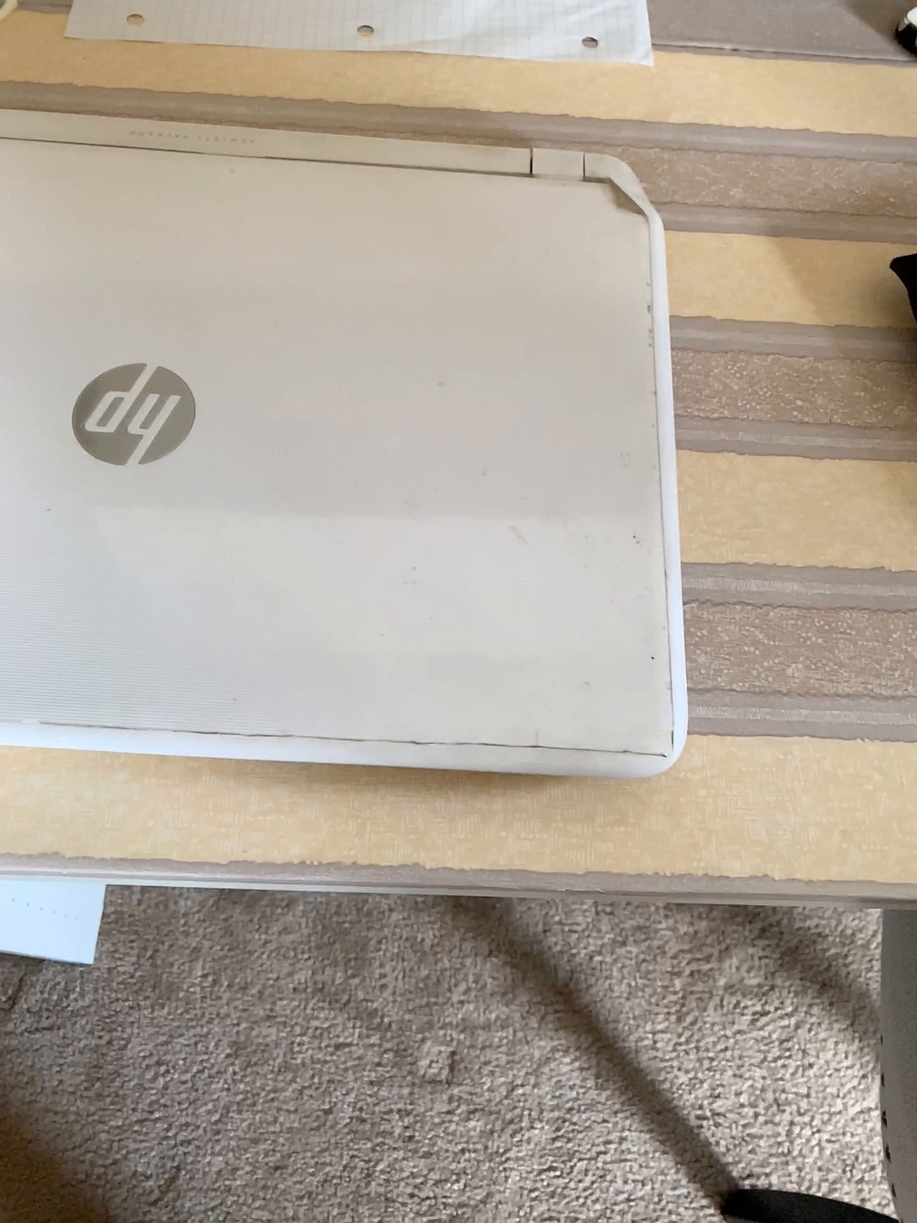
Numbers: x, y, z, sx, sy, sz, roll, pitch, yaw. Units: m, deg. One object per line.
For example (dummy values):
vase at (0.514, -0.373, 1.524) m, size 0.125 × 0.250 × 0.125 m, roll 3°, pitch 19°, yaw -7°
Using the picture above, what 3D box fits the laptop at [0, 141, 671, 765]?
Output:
laptop at (-0.111, -0.069, 0.330) m, size 0.363 × 0.002 × 0.229 m, roll 3°, pitch 67°, yaw -1°
